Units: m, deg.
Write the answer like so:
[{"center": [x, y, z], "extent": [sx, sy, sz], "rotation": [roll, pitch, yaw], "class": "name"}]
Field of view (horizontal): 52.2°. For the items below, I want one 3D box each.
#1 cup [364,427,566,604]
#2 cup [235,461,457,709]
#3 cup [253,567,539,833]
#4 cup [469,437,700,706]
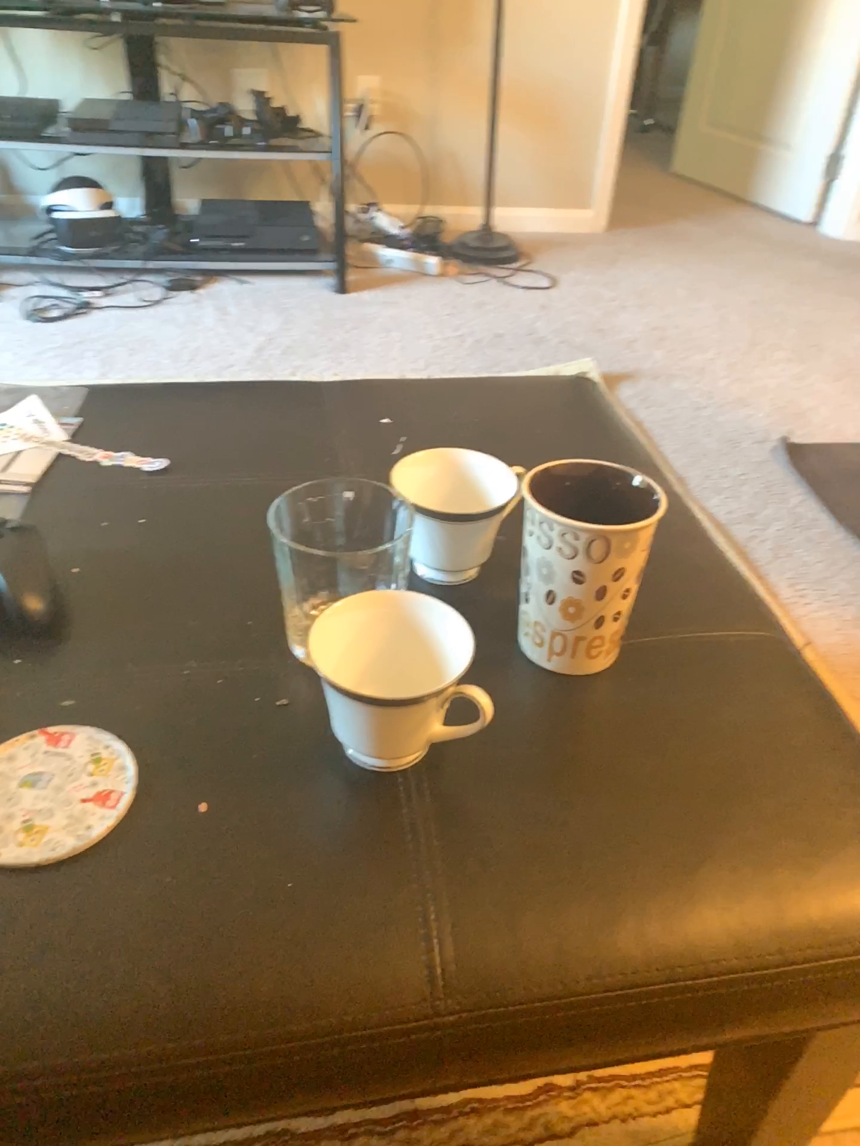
[{"center": [0.022, -0.045, 0.631], "extent": [0.110, 0.070, 0.091], "rotation": [-15, 40, -23], "class": "cup"}, {"center": [-0.053, 0.004, 0.579], "extent": [0.100, 0.099, 0.100], "rotation": [3, 36, -2], "class": "cup"}, {"center": [-0.018, 0.065, 0.490], "extent": [0.120, 0.060, 0.100], "rotation": [20, 39, 20], "class": "cup"}, {"center": [0.096, -0.004, 0.559], "extent": [0.100, 0.109, 0.100], "rotation": [3, 36, -2], "class": "cup"}]
